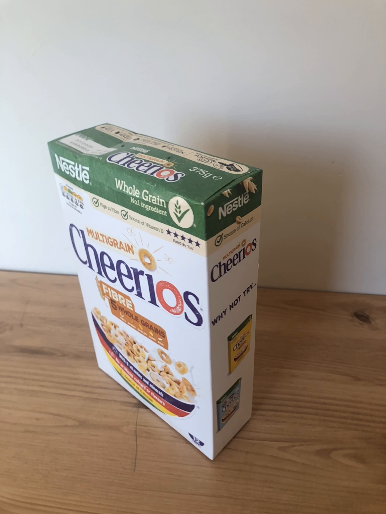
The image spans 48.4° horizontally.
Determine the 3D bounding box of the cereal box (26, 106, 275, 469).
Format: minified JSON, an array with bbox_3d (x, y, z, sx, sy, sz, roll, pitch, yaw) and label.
[{"bbox_3d":[-0.040,0.031,0.433,0.211,0.308,0.080,26,43,35],"label":"cereal box"}]
